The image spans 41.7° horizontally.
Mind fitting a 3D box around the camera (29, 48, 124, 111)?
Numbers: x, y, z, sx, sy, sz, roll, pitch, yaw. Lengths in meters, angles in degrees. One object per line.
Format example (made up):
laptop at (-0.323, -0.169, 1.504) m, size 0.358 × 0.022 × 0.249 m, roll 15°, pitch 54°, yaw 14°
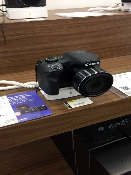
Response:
camera at (0.016, -0.021, 0.329) m, size 0.135 × 0.075 × 0.089 m, roll -12°, pitch 34°, yaw -16°
